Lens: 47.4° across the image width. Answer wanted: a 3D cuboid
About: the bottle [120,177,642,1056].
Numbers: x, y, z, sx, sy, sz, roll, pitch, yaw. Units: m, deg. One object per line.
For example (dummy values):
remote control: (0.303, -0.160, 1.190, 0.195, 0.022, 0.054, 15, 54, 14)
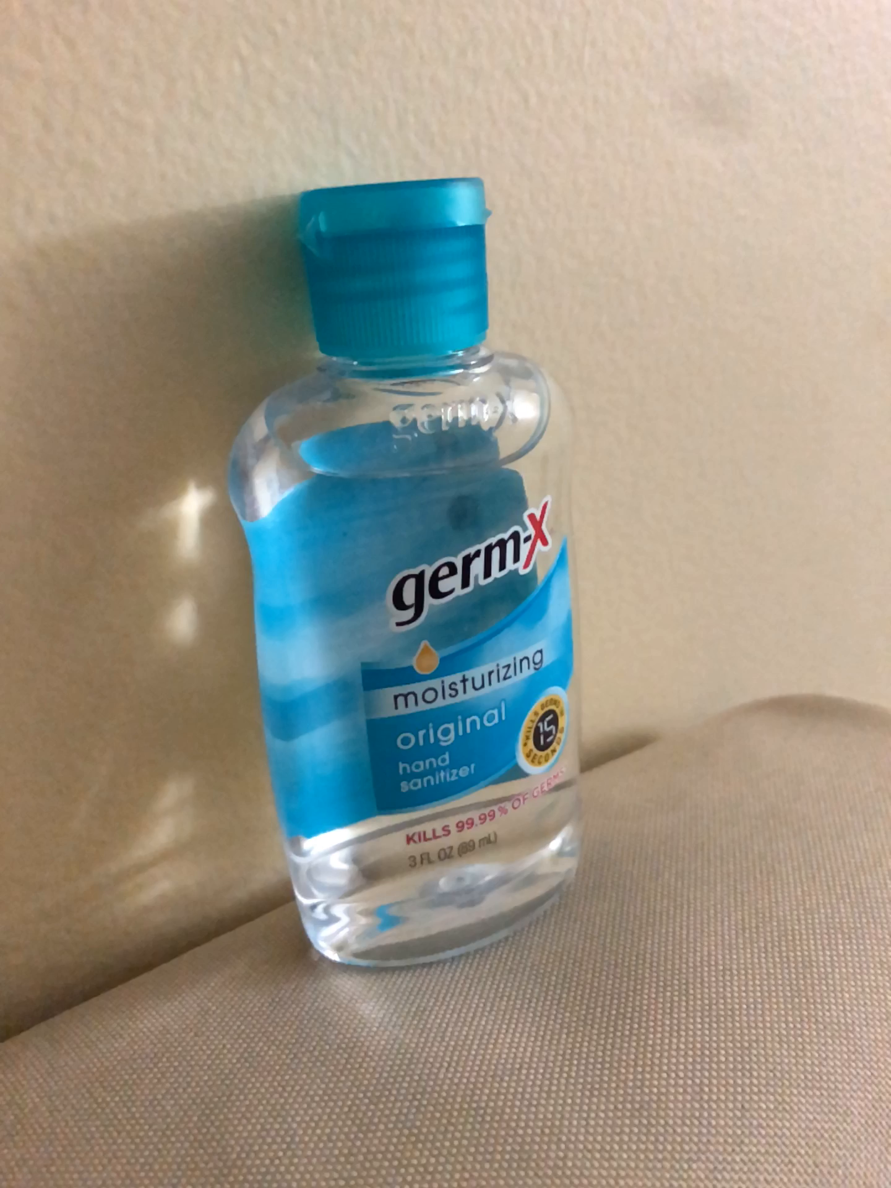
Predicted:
bottle: (-0.004, 0.000, 0.147, 0.060, 0.110, 0.030, -16, 23, -33)
